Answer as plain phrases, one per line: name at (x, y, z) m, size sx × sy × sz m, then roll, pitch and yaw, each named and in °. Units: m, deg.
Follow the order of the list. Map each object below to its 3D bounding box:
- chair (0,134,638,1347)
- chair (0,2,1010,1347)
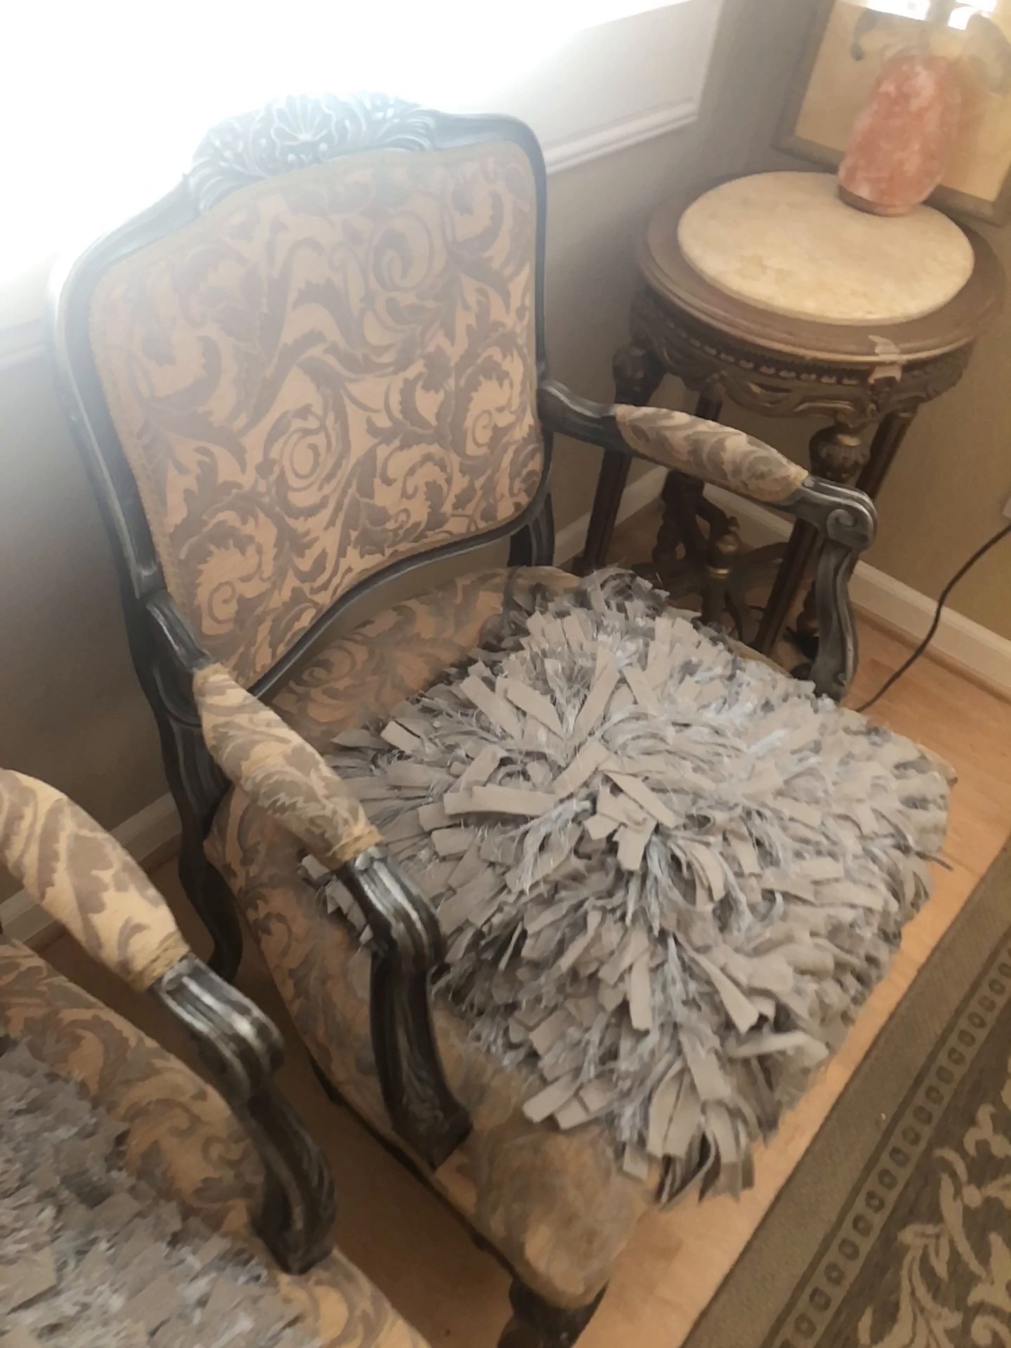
chair at (-0.471, 0.374, 0.580) m, size 0.694 × 0.952 × 0.601 m, roll -30°, pitch 56°, yaw -33°
chair at (0.011, 0.003, 1.047) m, size 0.781 × 0.853 × 0.745 m, roll 33°, pitch 49°, yaw 23°
